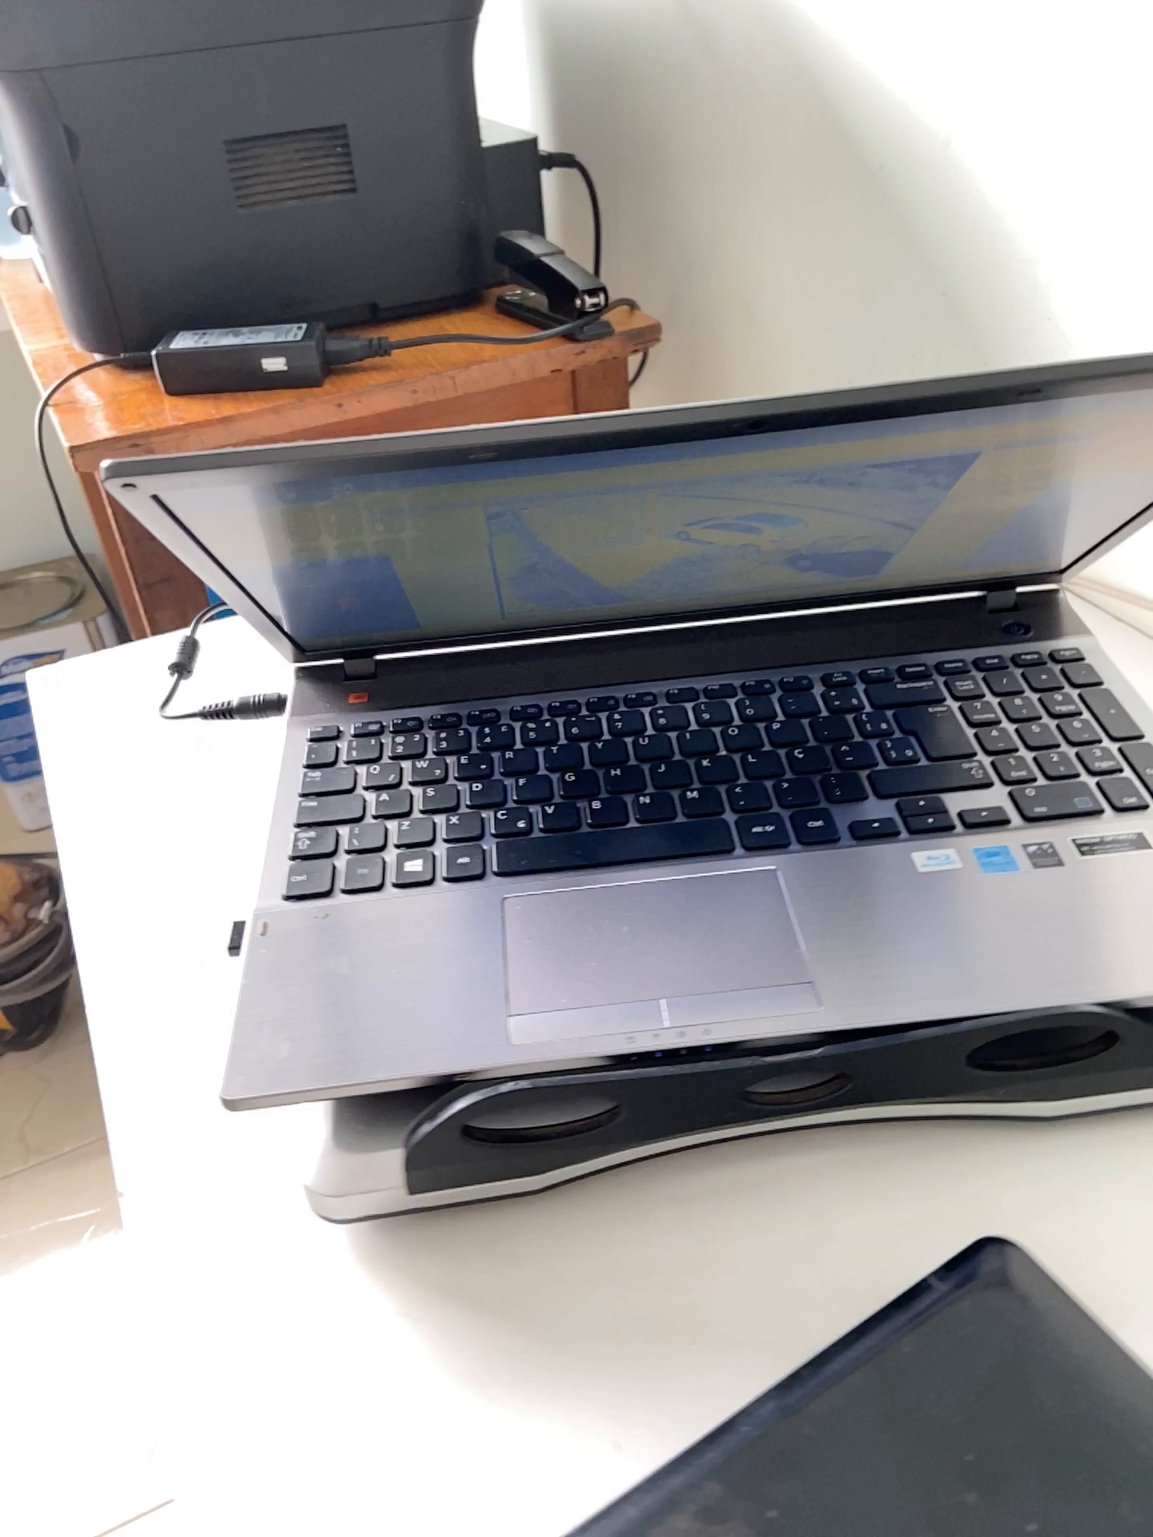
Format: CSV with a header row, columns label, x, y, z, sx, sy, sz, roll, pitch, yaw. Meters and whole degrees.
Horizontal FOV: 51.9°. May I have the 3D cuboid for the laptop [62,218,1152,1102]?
label,x,y,z,sx,sy,sz,roll,pitch,yaw
laptop,0.054,-0.056,0.415,0.358,0.164,0.232,-6,39,-3
